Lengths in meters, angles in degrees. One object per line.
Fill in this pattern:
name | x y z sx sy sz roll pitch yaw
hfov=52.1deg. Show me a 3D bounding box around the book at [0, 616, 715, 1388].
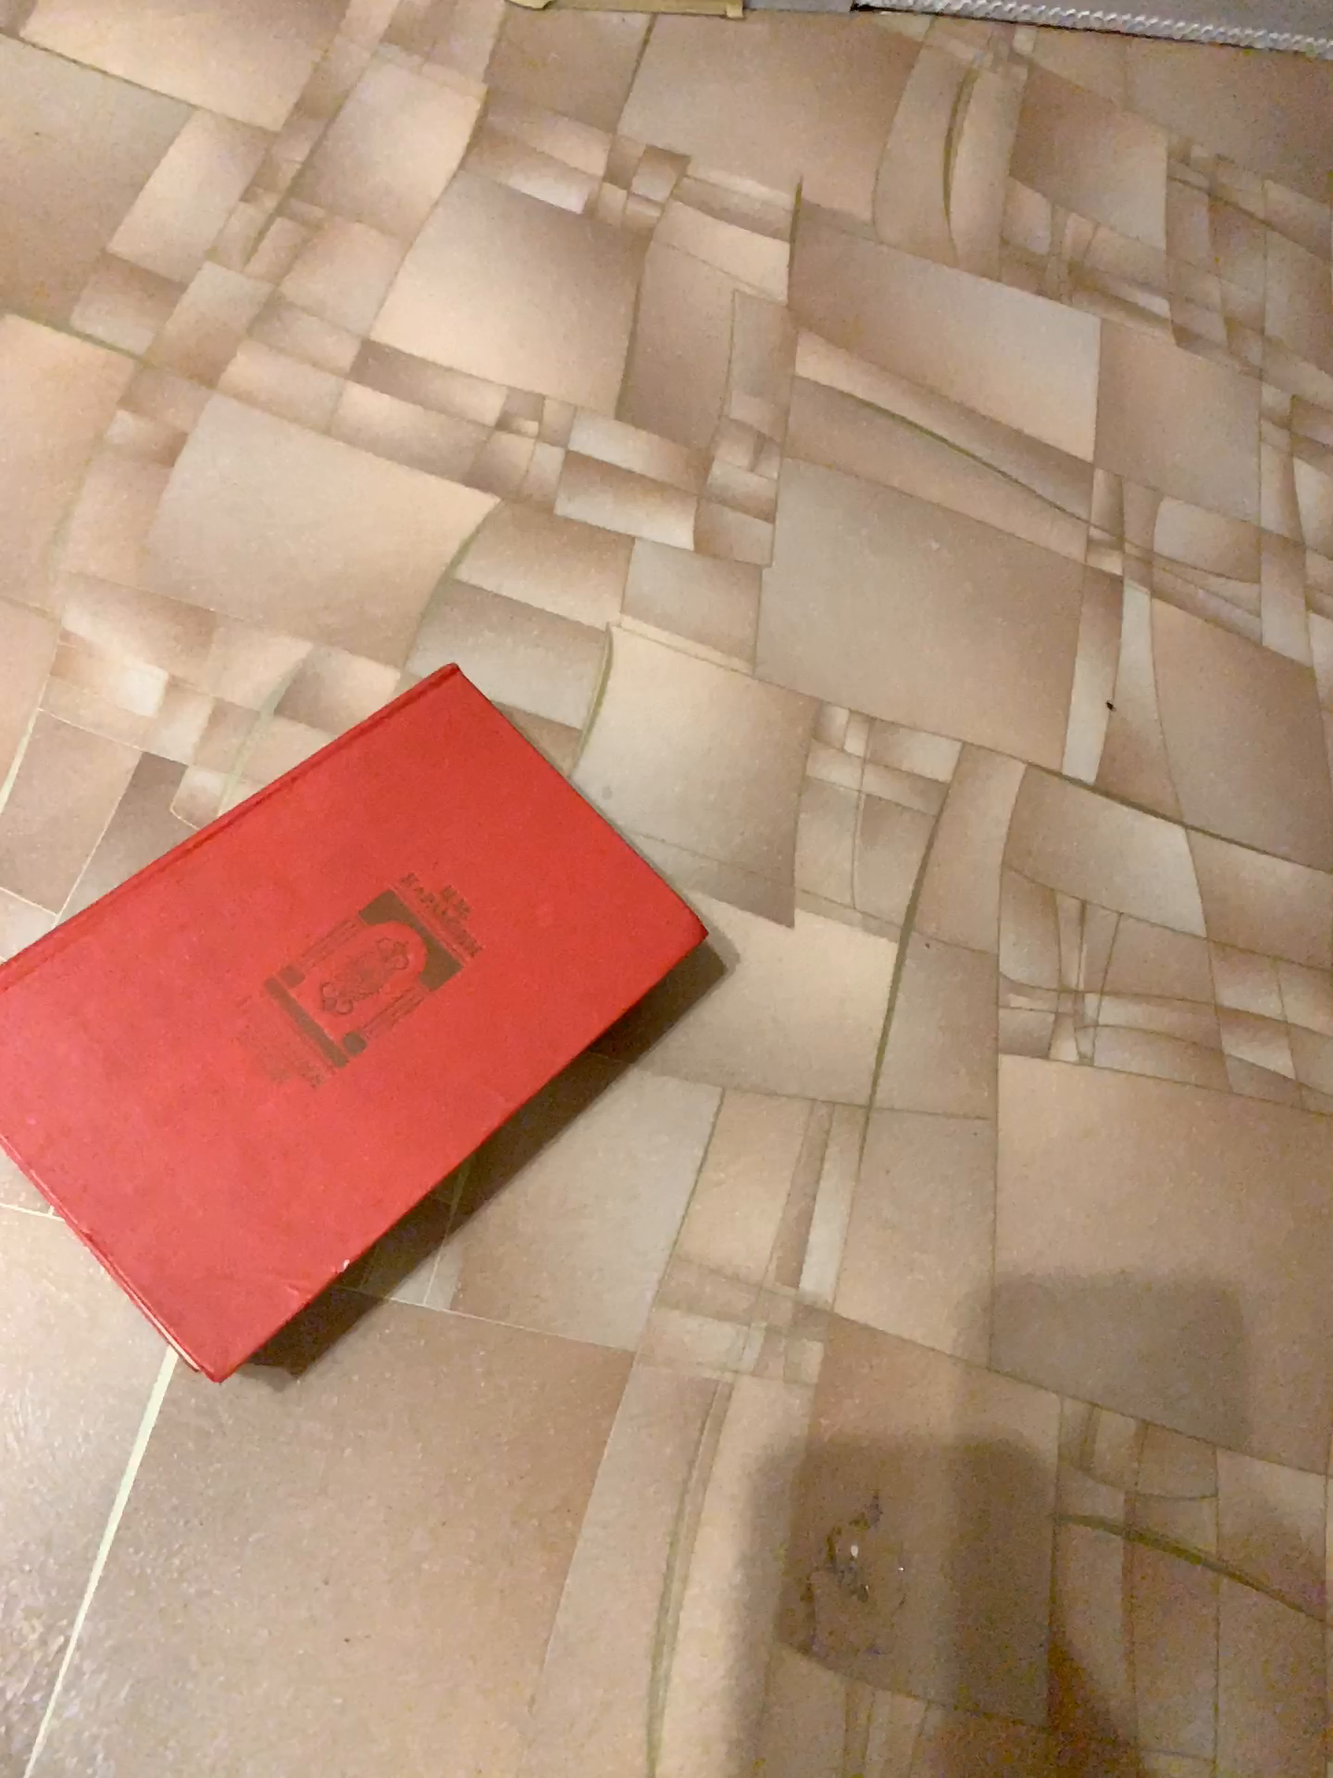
book | -0.107 0.026 0.424 0.201 0.050 0.140 -39 80 -26
